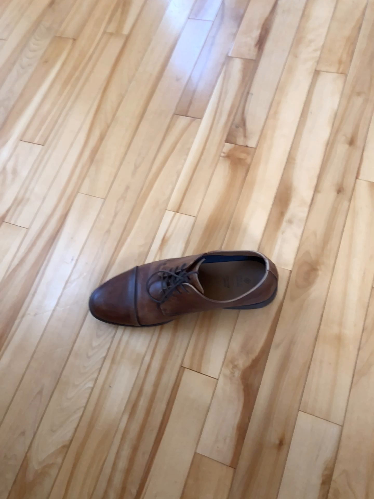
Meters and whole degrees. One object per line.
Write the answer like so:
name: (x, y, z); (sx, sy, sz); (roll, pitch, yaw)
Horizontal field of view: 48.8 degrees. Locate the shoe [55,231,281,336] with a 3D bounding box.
shoe: (-0.026, 0.057, 0.617); (0.310, 0.100, 0.100); (-7, 67, 8)
